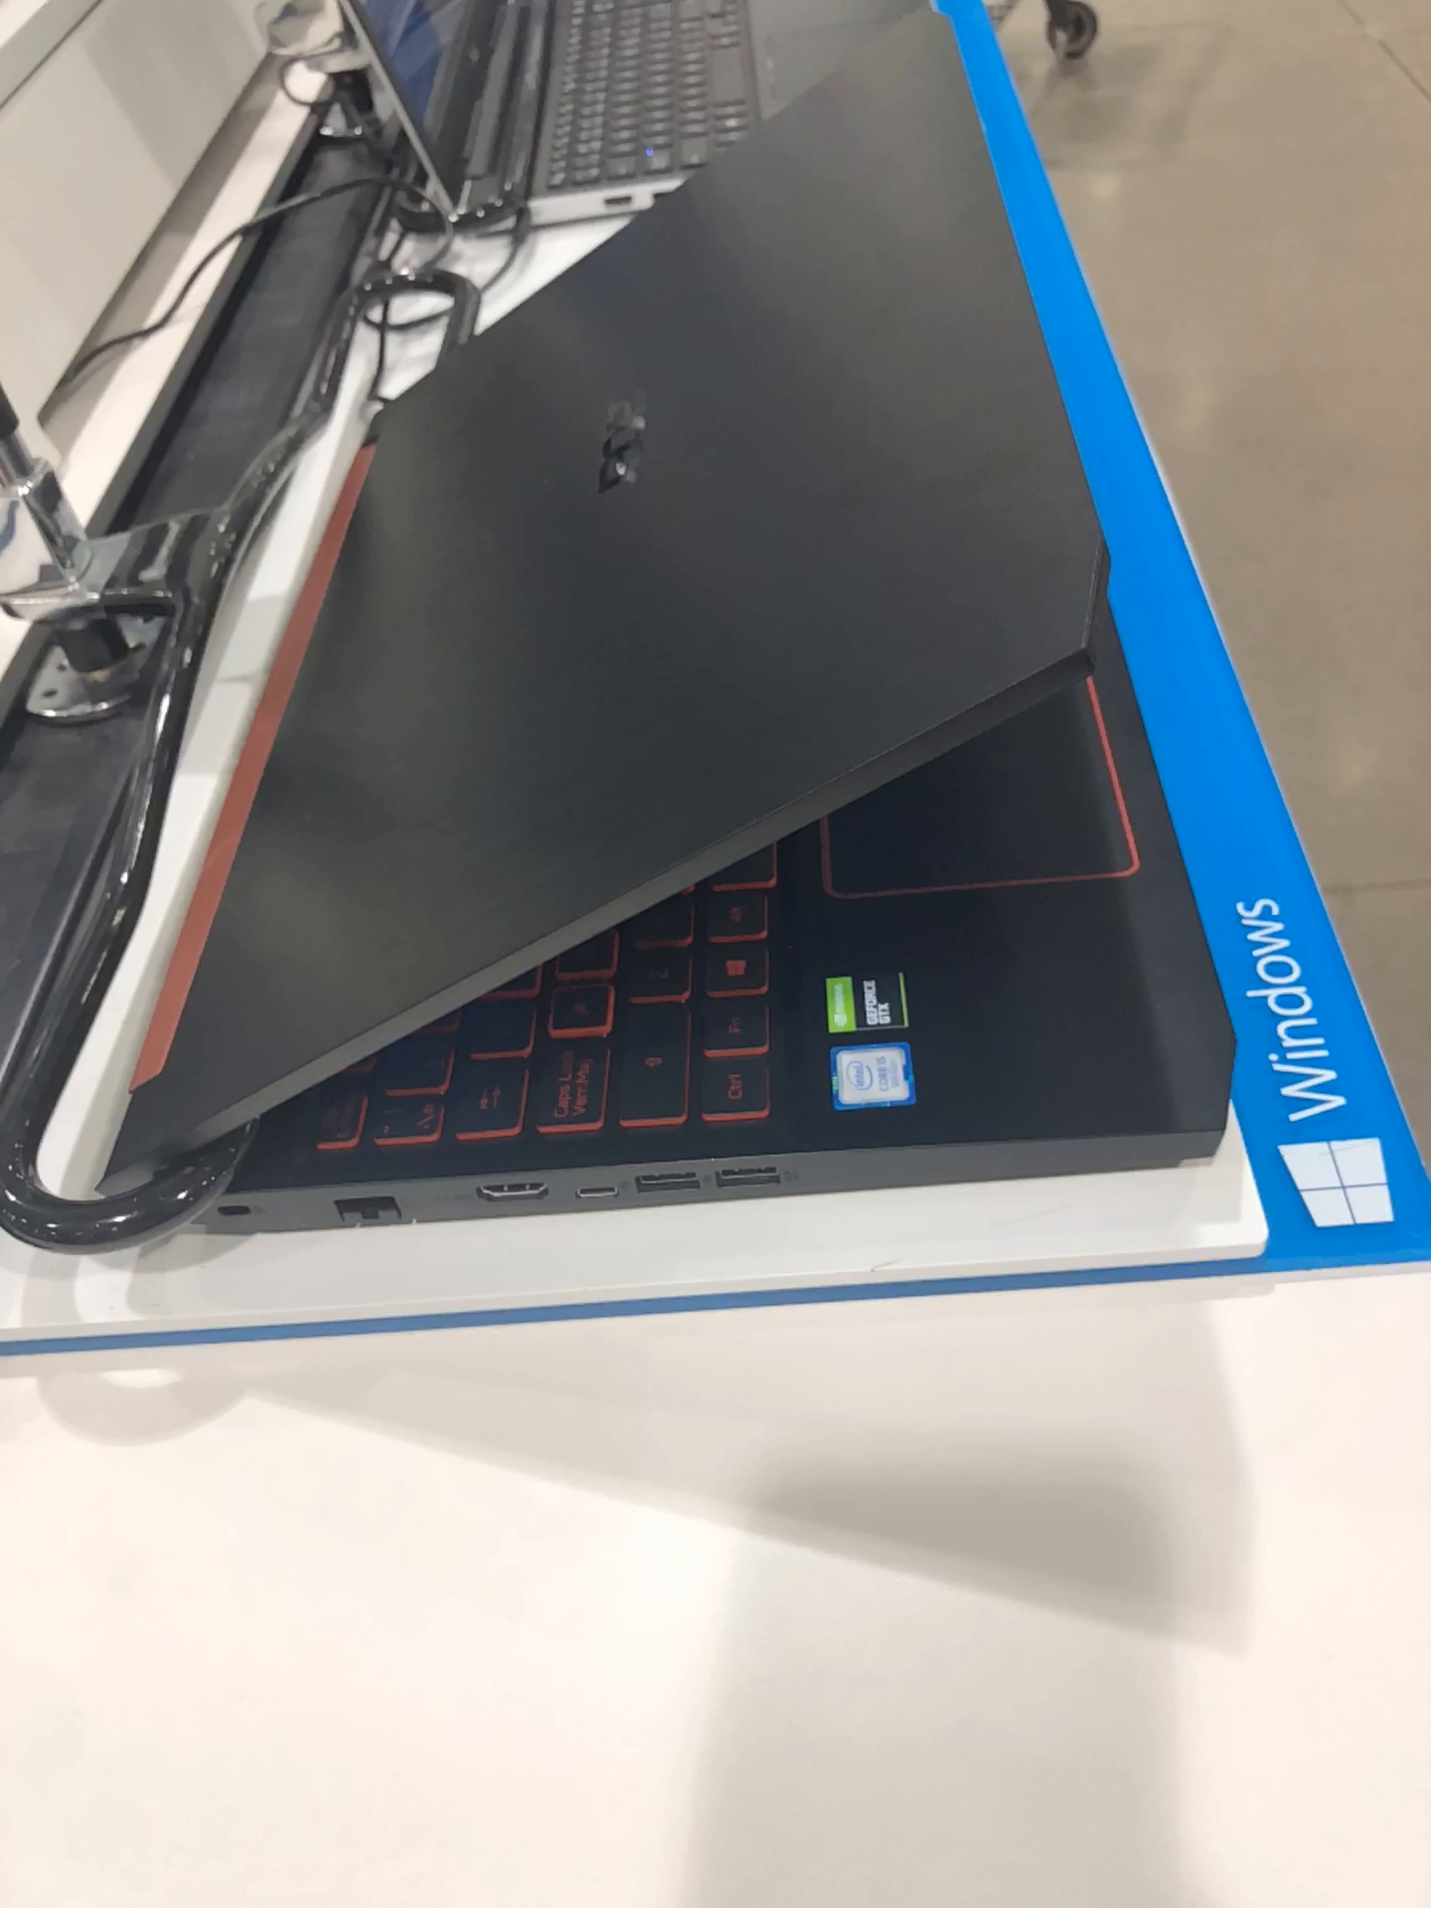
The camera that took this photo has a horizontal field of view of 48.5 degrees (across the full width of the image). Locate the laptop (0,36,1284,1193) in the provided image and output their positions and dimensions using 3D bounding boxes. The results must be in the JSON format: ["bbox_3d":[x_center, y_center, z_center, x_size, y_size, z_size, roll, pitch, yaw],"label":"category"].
[{"bbox_3d":[-0.015,-0.117,0.425,0.218,0.121,0.346,-5,44,4],"label":"laptop"}]
